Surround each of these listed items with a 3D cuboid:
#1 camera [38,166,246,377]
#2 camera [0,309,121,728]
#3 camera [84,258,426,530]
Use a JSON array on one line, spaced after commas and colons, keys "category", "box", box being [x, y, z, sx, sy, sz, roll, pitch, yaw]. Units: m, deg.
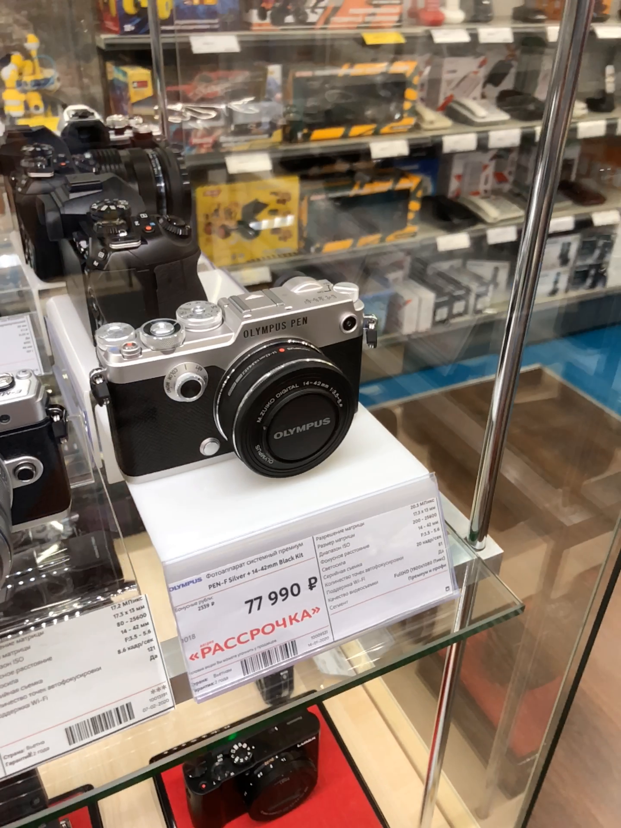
[{"category": "camera", "box": [-0.103, -0.093, 0.416, 0.083, 0.075, 0.128, -15, 36, -23]}, {"category": "camera", "box": [-0.149, 0.026, 0.252, 0.127, 0.075, 0.099, -14, 36, -22]}, {"category": "camera", "box": [-0.025, -0.016, 0.316, 0.127, 0.070, 0.077, -15, 36, -24]}]
